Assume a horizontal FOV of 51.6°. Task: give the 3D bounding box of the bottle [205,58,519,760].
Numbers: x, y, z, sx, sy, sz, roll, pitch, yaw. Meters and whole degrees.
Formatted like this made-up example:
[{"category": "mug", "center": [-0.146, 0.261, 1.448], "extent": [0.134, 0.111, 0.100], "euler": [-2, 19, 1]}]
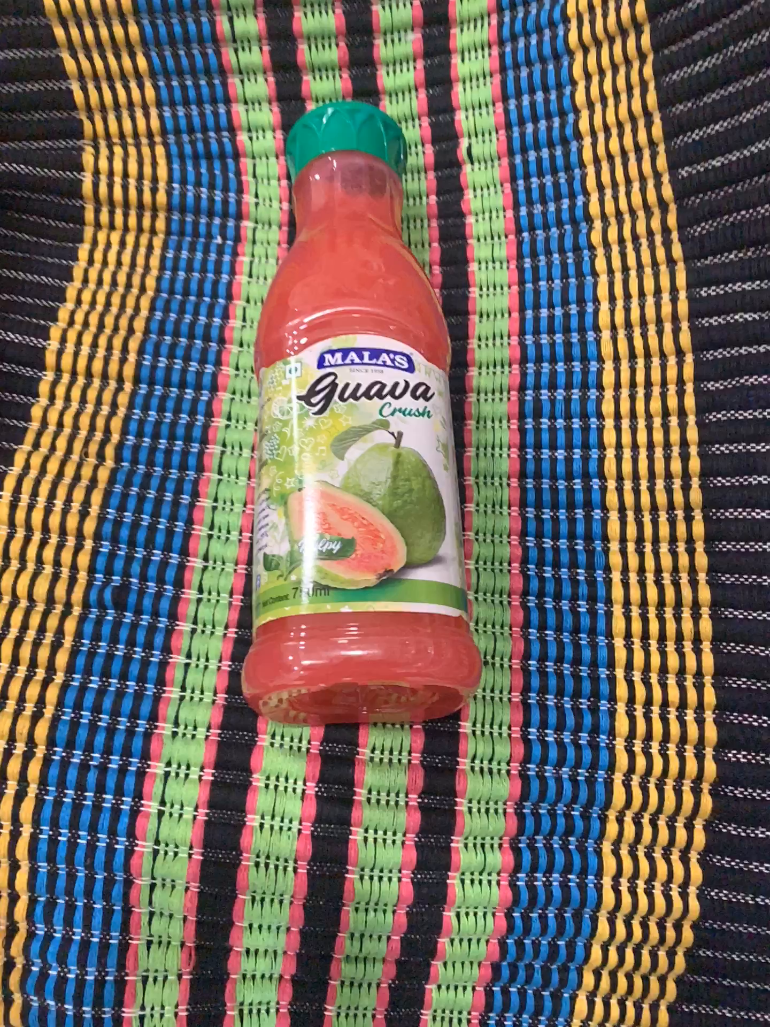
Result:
[{"category": "bottle", "center": [-0.016, -0.051, 0.299], "extent": [0.080, 0.080, 0.261], "euler": [-1, 62, -5]}]
